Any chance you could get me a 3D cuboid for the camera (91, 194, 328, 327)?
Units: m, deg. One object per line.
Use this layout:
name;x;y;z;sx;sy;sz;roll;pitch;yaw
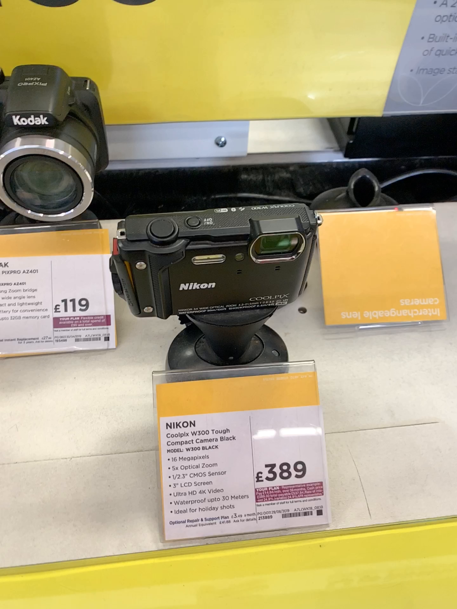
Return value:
camera;-0.011;-0.024;0.275;0.120;0.069;0.030;-4;53;-6
